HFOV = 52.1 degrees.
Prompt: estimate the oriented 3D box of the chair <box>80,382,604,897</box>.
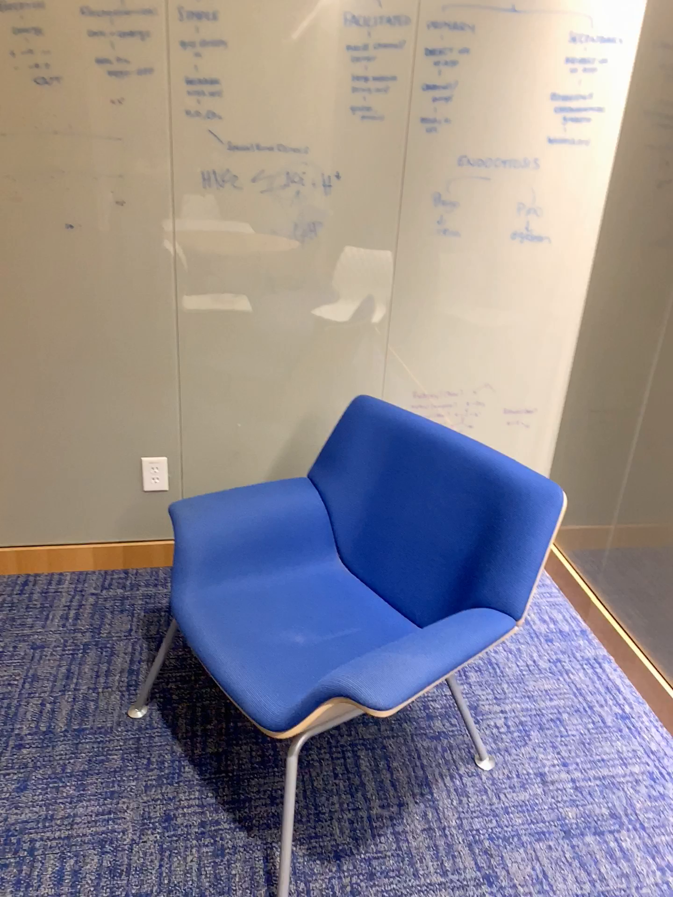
[{"bbox_3d":[-0.038,0.360,1.534,0.740,0.713,0.791,-14,29,-35],"label":"chair"}]
